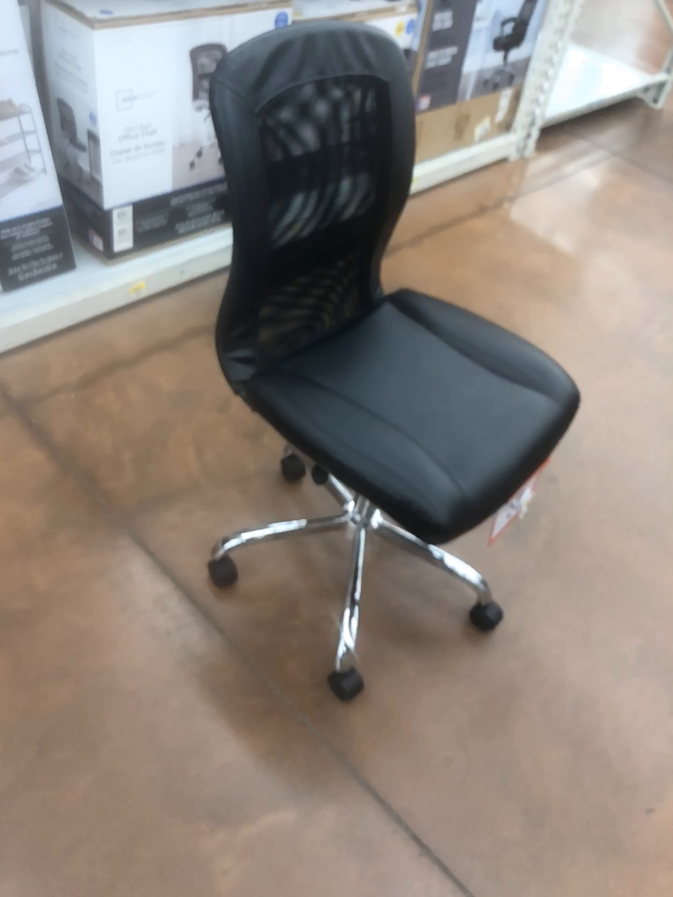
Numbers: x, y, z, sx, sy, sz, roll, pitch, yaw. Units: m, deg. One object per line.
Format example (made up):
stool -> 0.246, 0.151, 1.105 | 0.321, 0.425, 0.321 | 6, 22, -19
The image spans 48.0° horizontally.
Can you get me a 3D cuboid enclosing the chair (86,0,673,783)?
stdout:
chair -> 0.140, -0.133, 1.149 | 0.651, 0.817, 0.682 | 38, 50, 24
